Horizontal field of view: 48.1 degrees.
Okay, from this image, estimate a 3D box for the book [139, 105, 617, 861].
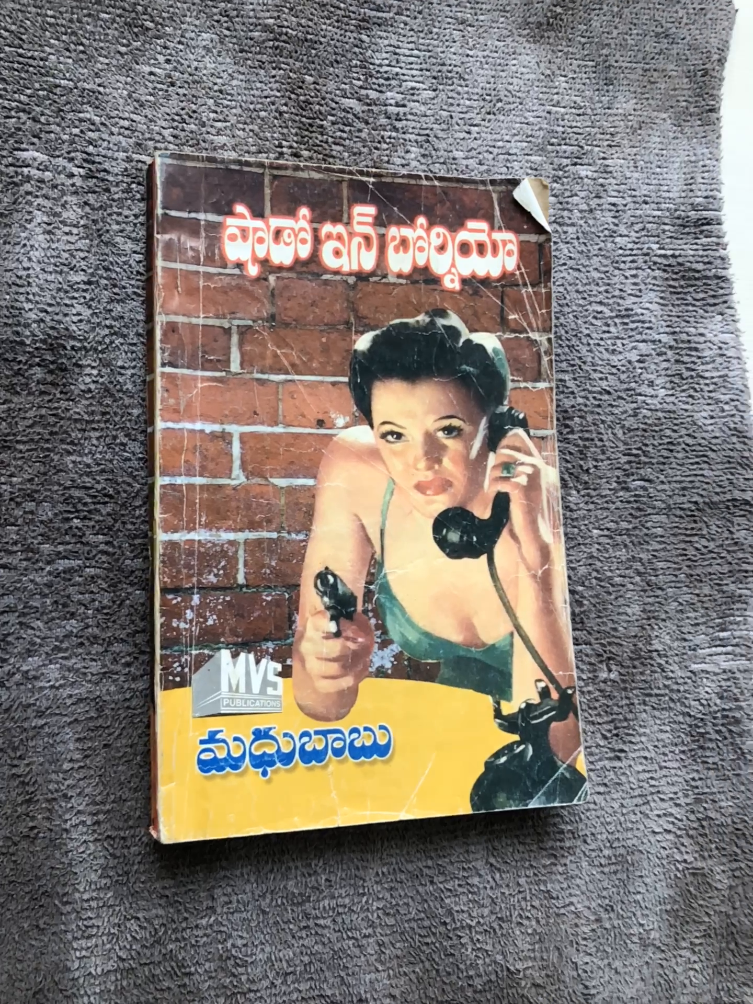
[{"bbox_3d":[-0.003,-0.005,0.198,0.100,0.040,0.150,0,82,-16],"label":"book"}]
